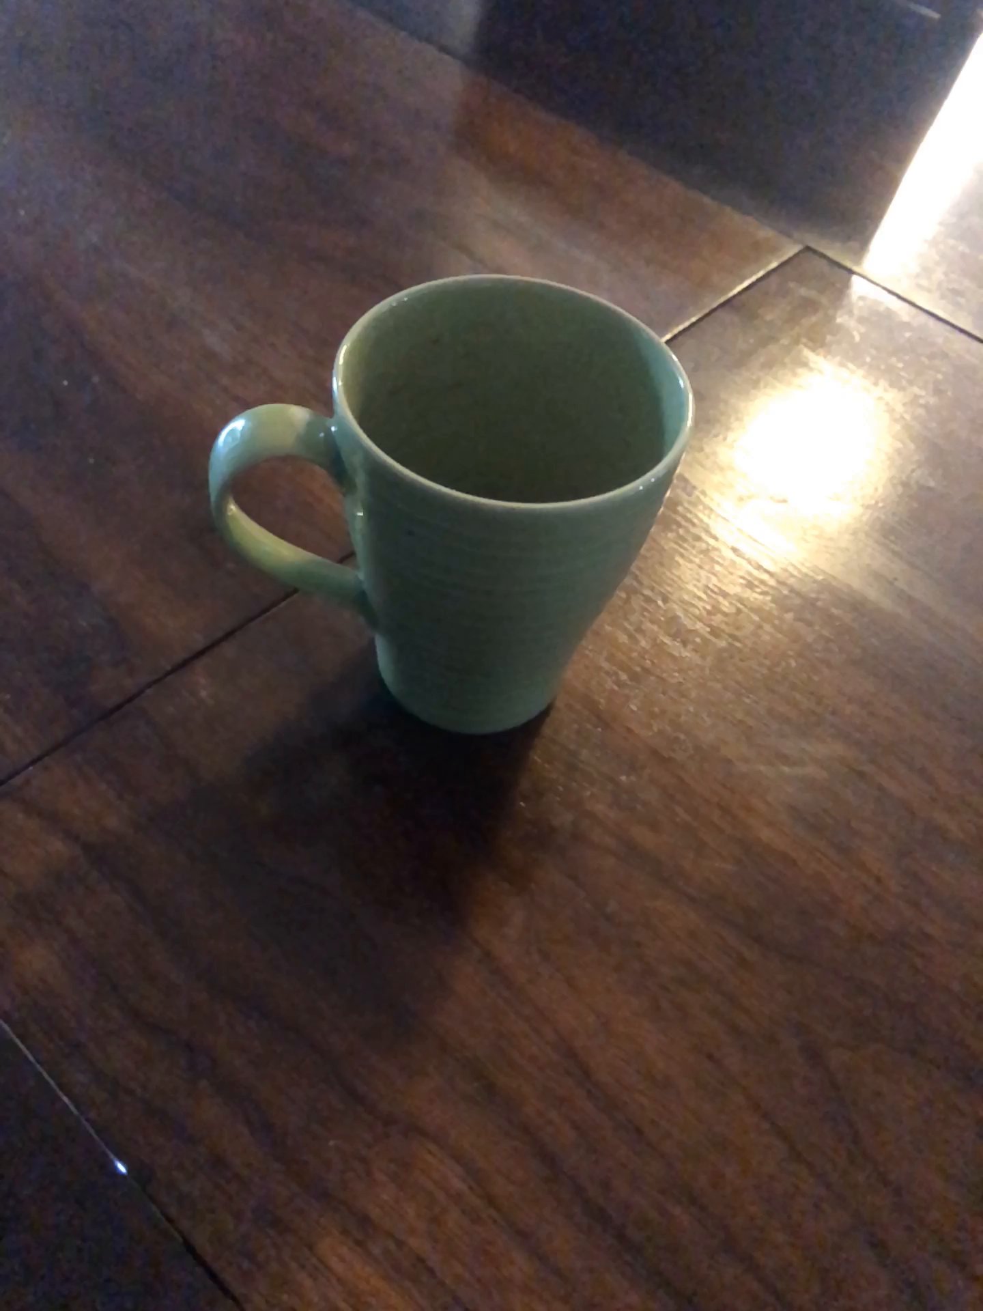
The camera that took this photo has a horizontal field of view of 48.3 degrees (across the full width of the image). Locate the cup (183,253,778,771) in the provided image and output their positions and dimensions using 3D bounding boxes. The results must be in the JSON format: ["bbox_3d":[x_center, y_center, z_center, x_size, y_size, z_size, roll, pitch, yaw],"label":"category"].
[{"bbox_3d":[-0.010,-0.036,0.281,0.120,0.090,0.090,-2,52,-9],"label":"cup"}]
